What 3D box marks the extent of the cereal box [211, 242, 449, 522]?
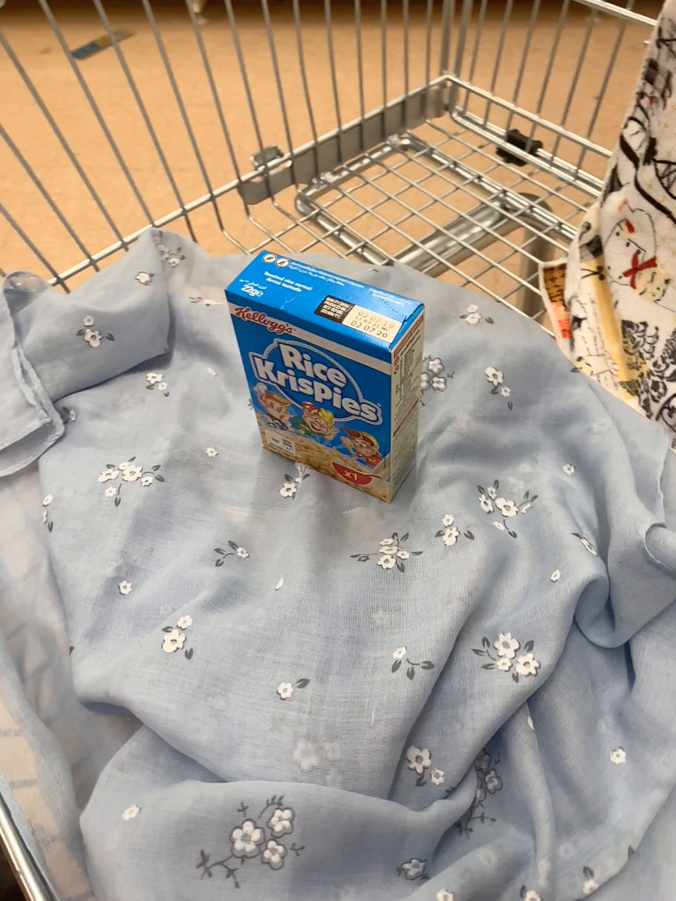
[{"bbox_3d":[0.001,-0.030,0.369,0.100,0.139,0.040,22,61,19],"label":"cereal box"}]
